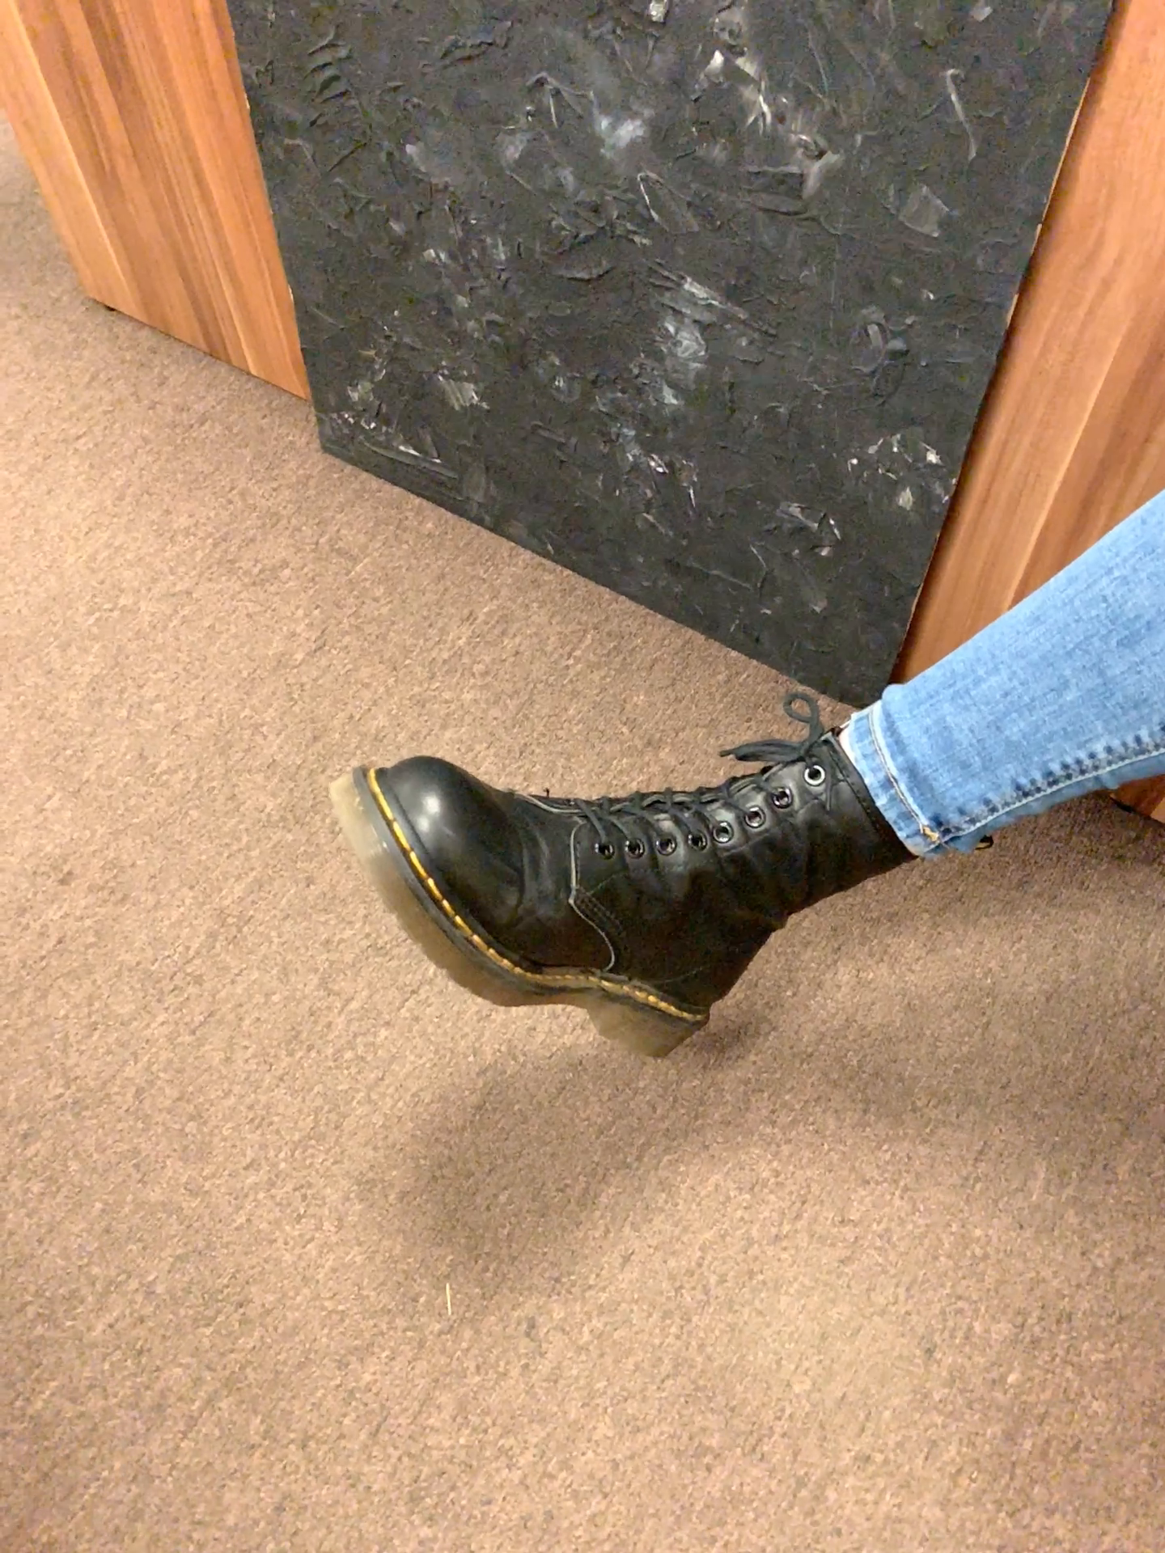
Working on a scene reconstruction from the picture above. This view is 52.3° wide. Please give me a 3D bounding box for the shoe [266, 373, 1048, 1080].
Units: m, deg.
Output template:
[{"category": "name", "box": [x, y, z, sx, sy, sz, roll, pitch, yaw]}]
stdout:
[{"category": "shoe", "box": [0.070, 0.020, 0.582, 0.230, 0.369, 0.120, -34, 59, 13]}]
